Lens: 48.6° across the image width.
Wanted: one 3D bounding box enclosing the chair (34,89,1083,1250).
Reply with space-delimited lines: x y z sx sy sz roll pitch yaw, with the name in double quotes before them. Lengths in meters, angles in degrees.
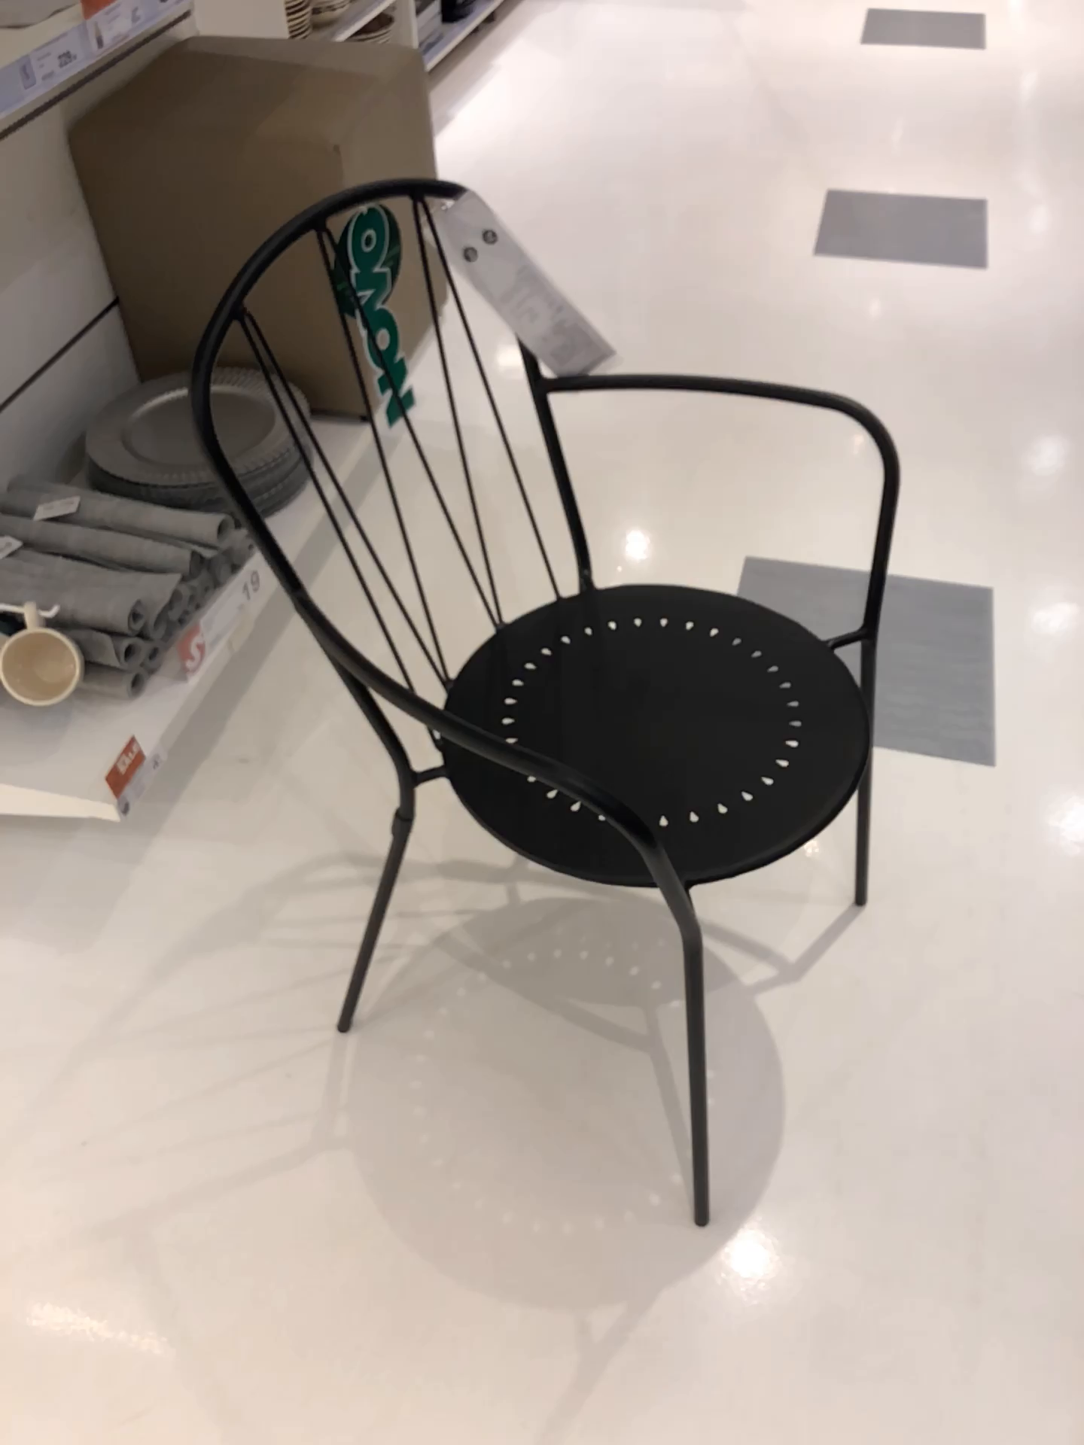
"chair" 0.050 -0.037 1.124 0.561 0.814 0.513 22 50 23
